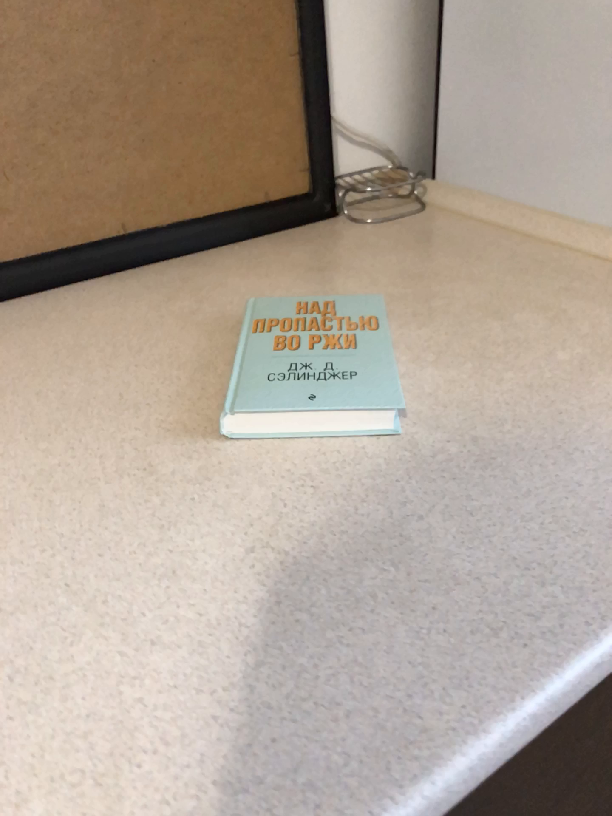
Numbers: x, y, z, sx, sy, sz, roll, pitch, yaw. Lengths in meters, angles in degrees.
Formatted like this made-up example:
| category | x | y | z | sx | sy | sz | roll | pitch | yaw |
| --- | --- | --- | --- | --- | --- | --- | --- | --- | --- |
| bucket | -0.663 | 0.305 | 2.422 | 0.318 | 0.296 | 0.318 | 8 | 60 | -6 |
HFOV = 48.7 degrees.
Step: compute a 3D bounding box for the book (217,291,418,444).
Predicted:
| category | x | y | z | sx | sy | sz | roll | pitch | yaw |
| --- | --- | --- | --- | --- | --- | --- | --- | --- | --- |
| book | 0.010 | -0.036 | 0.477 | 0.118 | 0.020 | 0.181 | -1 | 32 | 3 |
